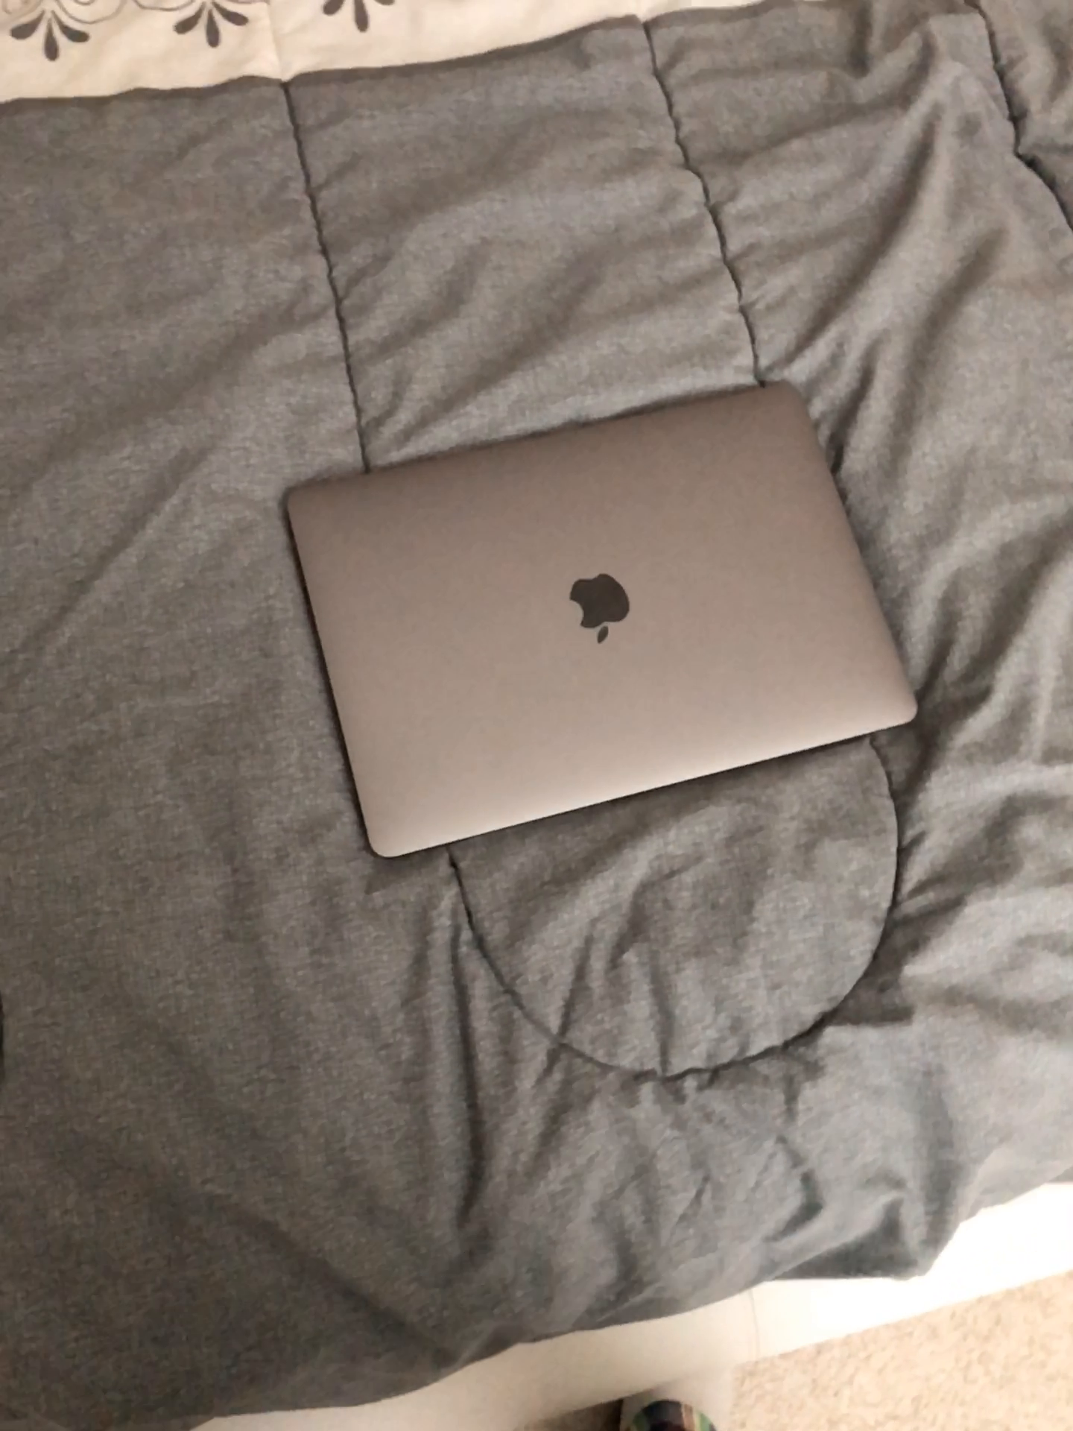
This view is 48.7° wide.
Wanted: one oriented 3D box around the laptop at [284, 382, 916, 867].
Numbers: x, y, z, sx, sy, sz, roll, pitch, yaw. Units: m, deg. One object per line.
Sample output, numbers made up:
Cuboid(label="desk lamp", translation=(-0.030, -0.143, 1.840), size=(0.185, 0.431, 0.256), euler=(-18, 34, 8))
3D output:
Cuboid(label="laptop", translation=(0.033, -0.058, 0.641), size=(0.295, 0.008, 0.207), euler=(-14, 77, -8))
